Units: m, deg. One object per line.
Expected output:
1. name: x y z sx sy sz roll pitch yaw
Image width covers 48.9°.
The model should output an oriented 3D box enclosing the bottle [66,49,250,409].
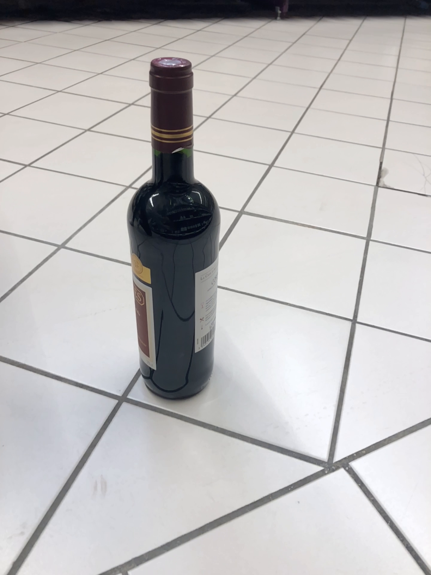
1. bottle: -0.040 -0.029 0.379 0.100 0.268 0.101 3 38 -2
